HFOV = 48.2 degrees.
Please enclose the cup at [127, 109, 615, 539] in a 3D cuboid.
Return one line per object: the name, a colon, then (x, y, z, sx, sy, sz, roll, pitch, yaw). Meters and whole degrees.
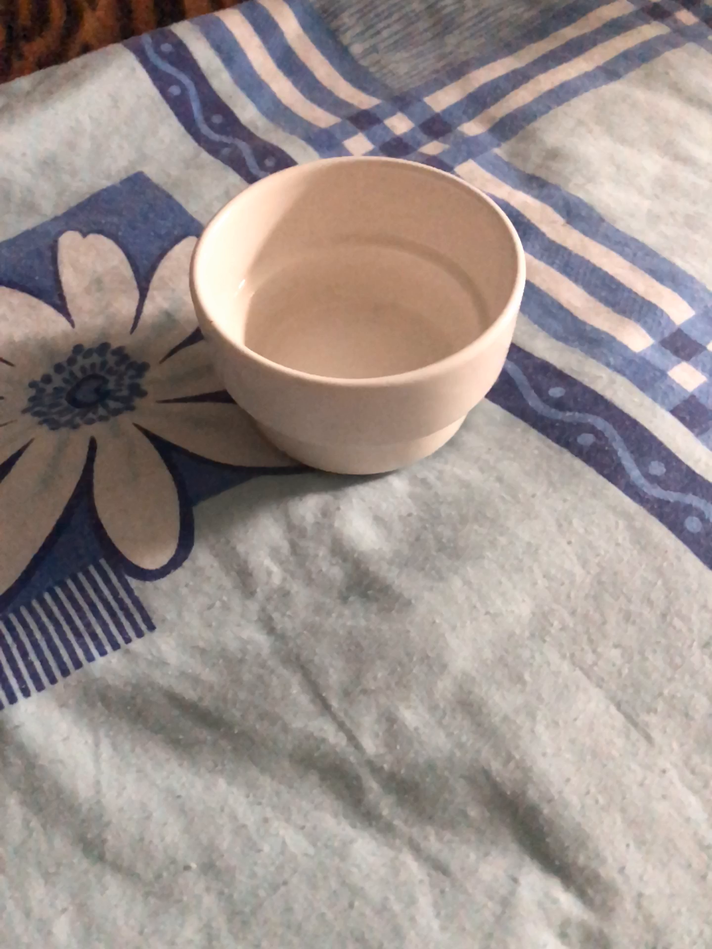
cup: (0.001, -0.043, 0.210, 0.091, 0.047, 0.077, -23, 61, -17)
